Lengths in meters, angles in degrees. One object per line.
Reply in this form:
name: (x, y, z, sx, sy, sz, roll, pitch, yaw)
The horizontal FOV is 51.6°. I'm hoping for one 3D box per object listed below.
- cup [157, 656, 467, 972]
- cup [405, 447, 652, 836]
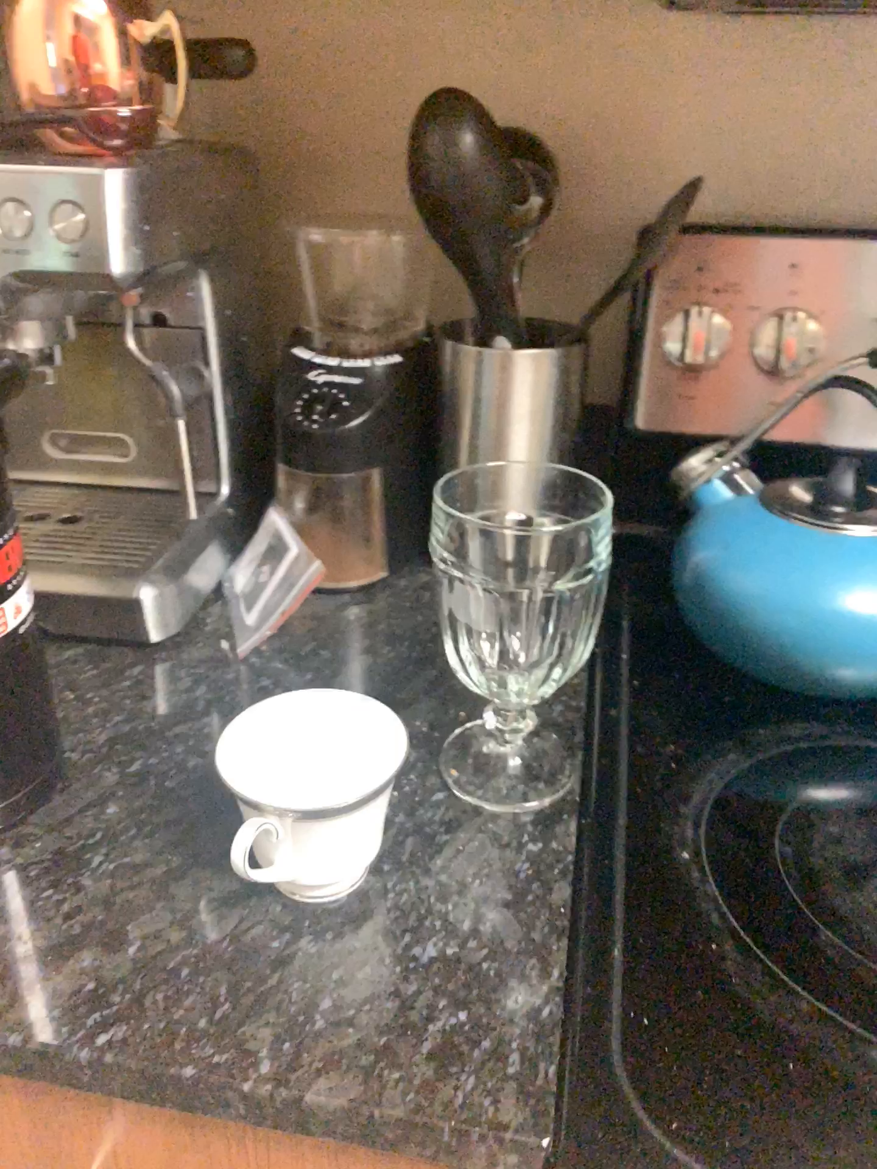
cup: (-0.054, 0.101, 0.432, 0.100, 0.070, 0.110, 11, 29, 19)
cup: (0.050, 0.027, 0.510, 0.100, 0.169, 0.110, 11, 28, 19)
